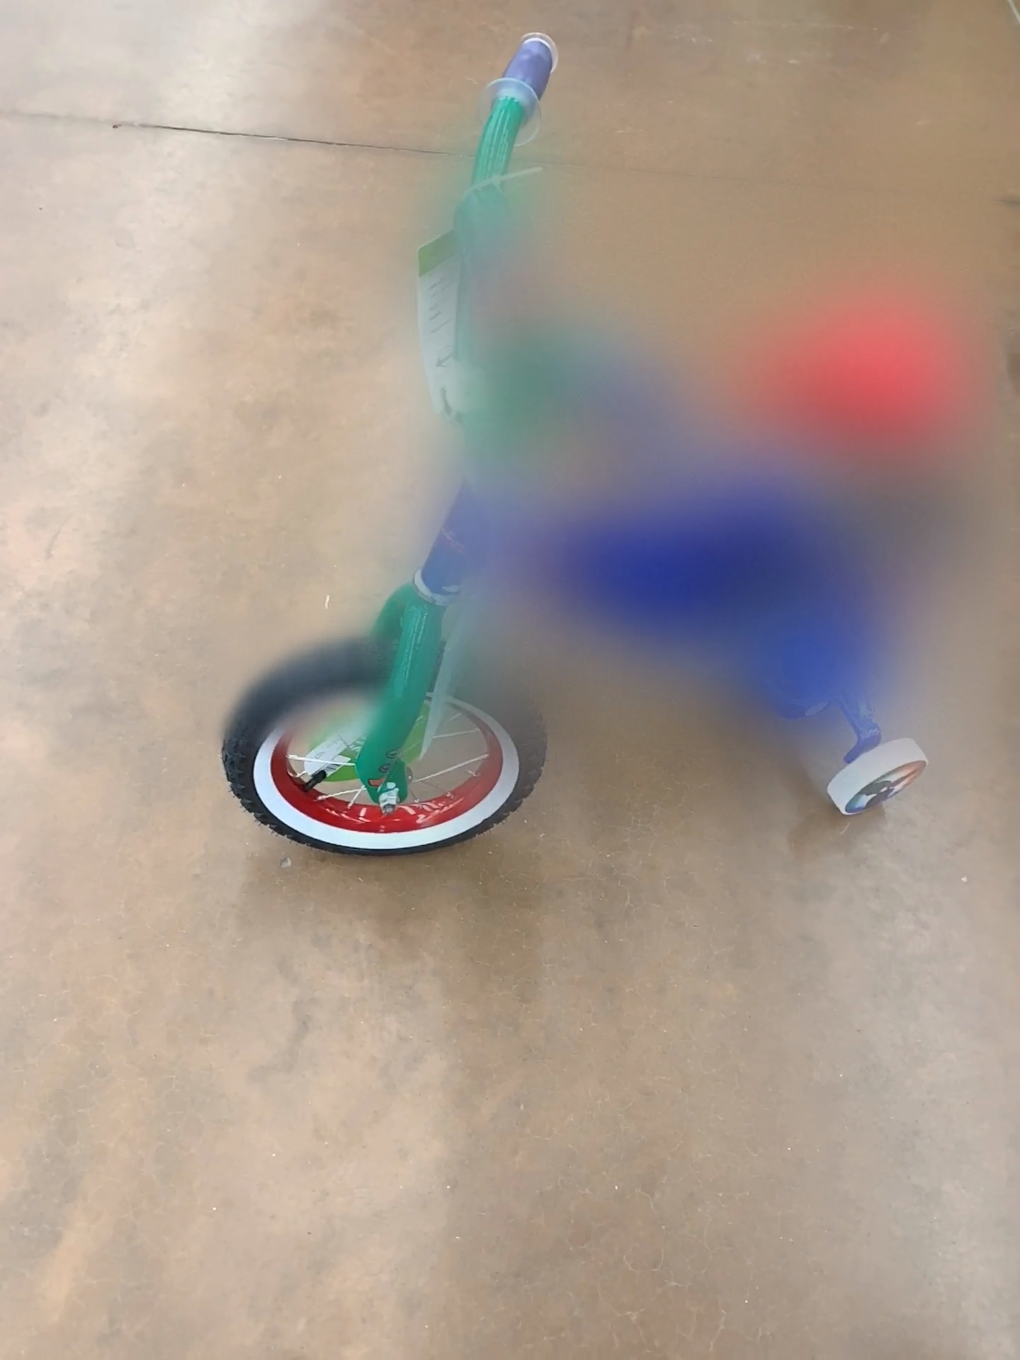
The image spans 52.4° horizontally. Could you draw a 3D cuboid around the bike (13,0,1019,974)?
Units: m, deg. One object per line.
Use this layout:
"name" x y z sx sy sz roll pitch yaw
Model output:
"bike" 0.121 -0.176 0.935 0.794 0.695 0.466 -15 59 -14
